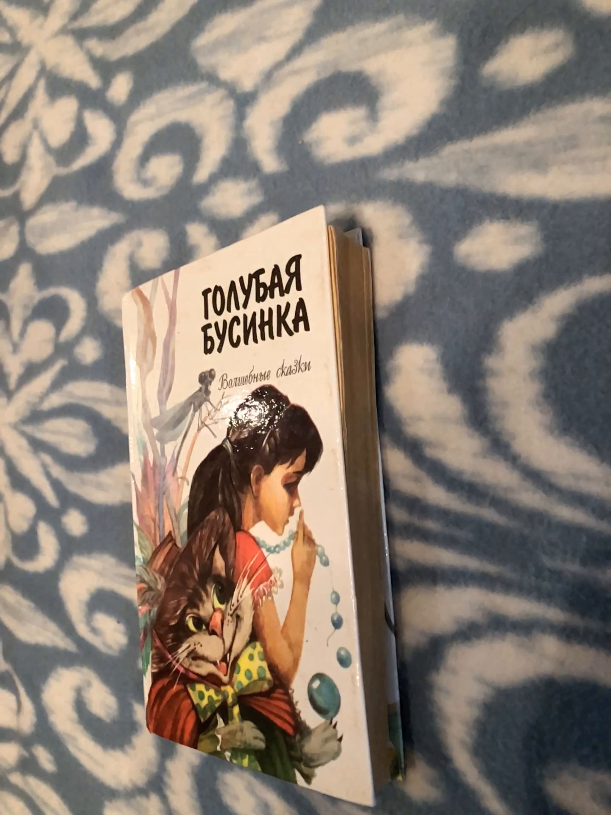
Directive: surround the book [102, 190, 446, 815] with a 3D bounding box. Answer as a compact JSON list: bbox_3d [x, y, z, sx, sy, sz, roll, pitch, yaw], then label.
[{"bbox_3d":[-0.025,0.037,0.287,0.146,0.040,0.206,-10,82,42],"label":"book"}]
